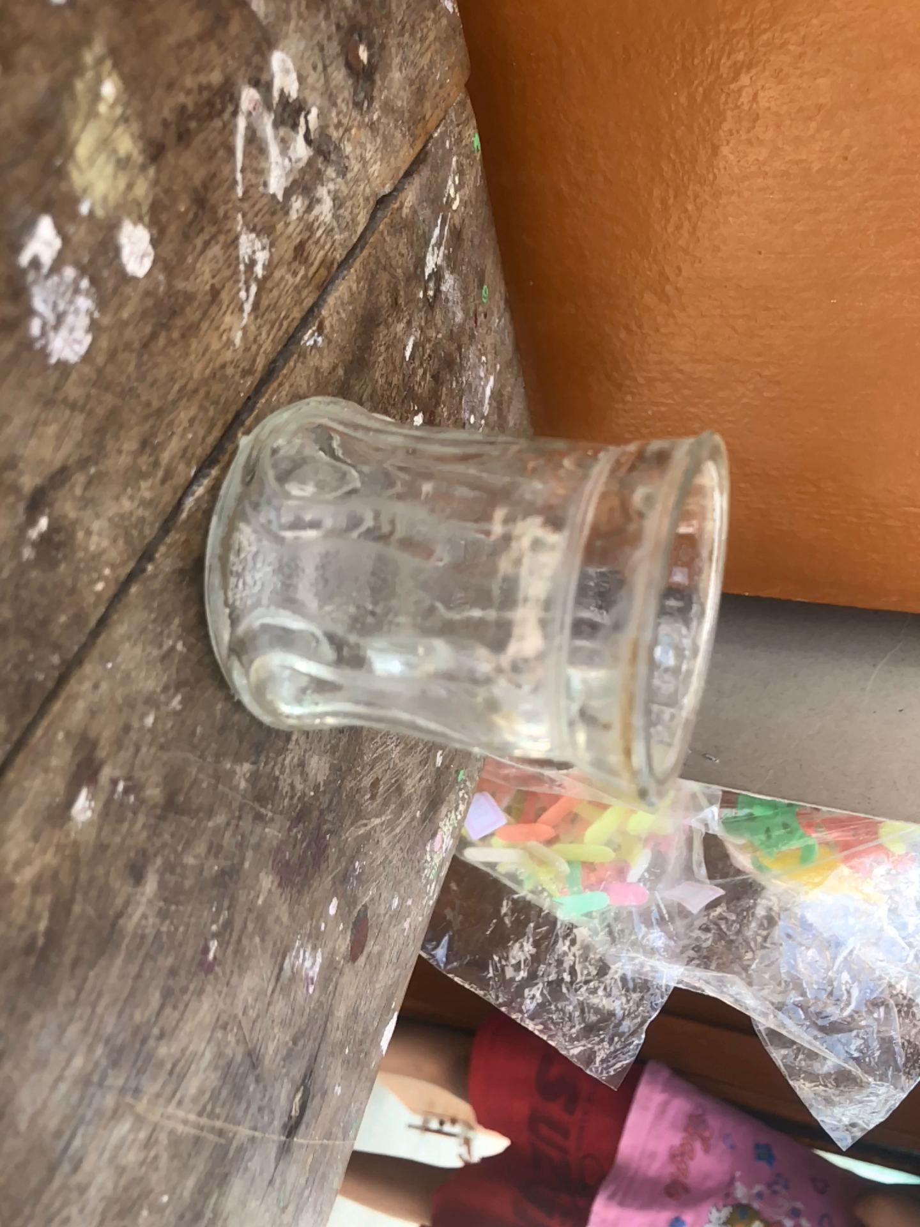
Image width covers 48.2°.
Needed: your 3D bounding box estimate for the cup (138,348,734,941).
[{"bbox_3d":[0.006,0.007,0.159,0.080,0.060,0.050,66,37,-53],"label":"cup"}]
